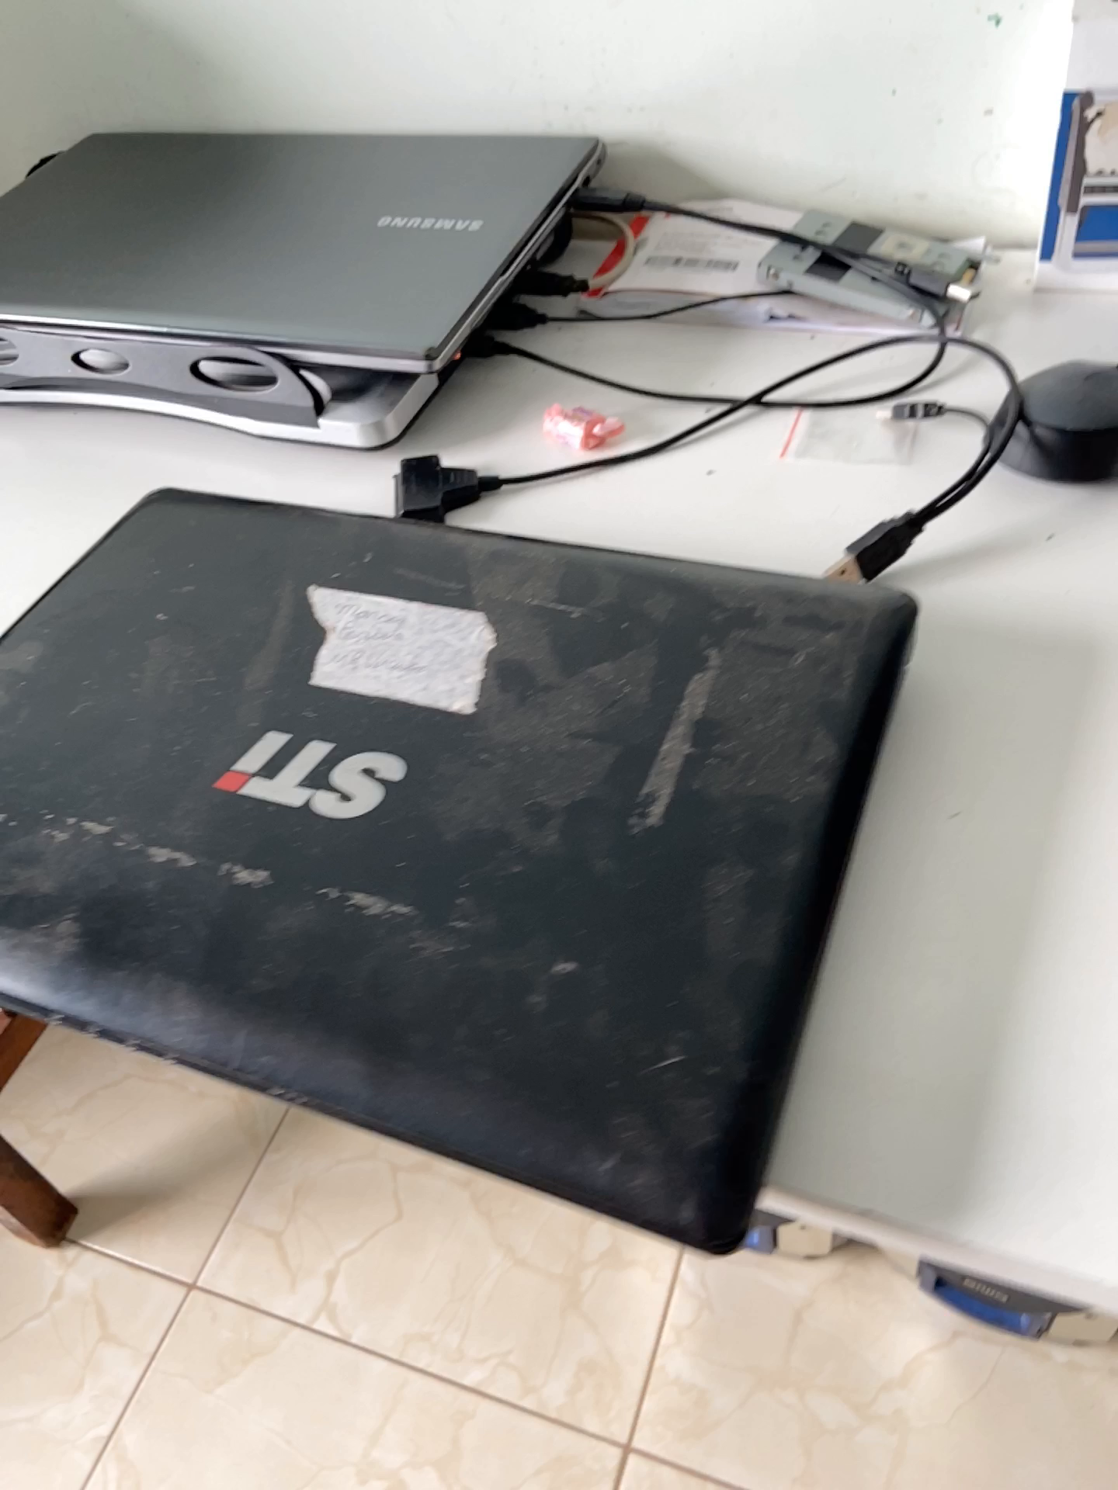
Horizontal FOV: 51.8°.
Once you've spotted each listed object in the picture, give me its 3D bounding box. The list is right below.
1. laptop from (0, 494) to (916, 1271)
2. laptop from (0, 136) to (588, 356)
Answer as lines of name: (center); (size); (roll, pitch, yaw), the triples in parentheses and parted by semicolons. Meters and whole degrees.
laptop: (-0.072, 0.007, 0.398); (0.337, 0.011, 0.231); (11, 52, 20)
laptop: (-0.180, -0.291, 0.644); (0.344, 0.006, 0.228); (10, 50, 16)
